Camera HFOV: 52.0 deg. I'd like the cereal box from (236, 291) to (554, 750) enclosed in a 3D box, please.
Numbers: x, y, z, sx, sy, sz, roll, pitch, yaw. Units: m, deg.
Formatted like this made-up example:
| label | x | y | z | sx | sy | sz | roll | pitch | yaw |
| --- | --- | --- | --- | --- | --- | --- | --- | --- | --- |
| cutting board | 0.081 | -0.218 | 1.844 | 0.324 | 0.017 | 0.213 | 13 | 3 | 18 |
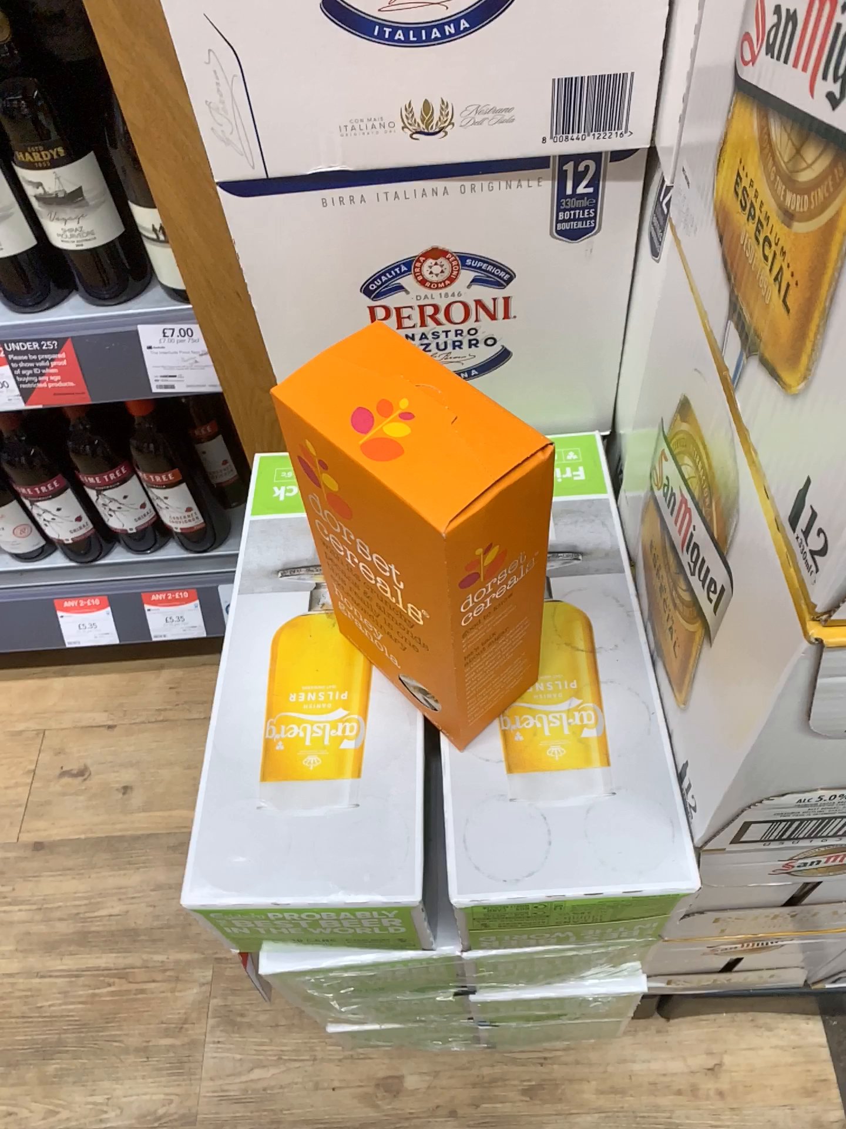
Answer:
| label | x | y | z | sx | sy | sz | roll | pitch | yaw |
| --- | --- | --- | --- | --- | --- | --- | --- | --- | --- |
| cereal box | -0.006 | -0.012 | 0.434 | 0.070 | 0.198 | 0.121 | -37 | 59 | -20 |
